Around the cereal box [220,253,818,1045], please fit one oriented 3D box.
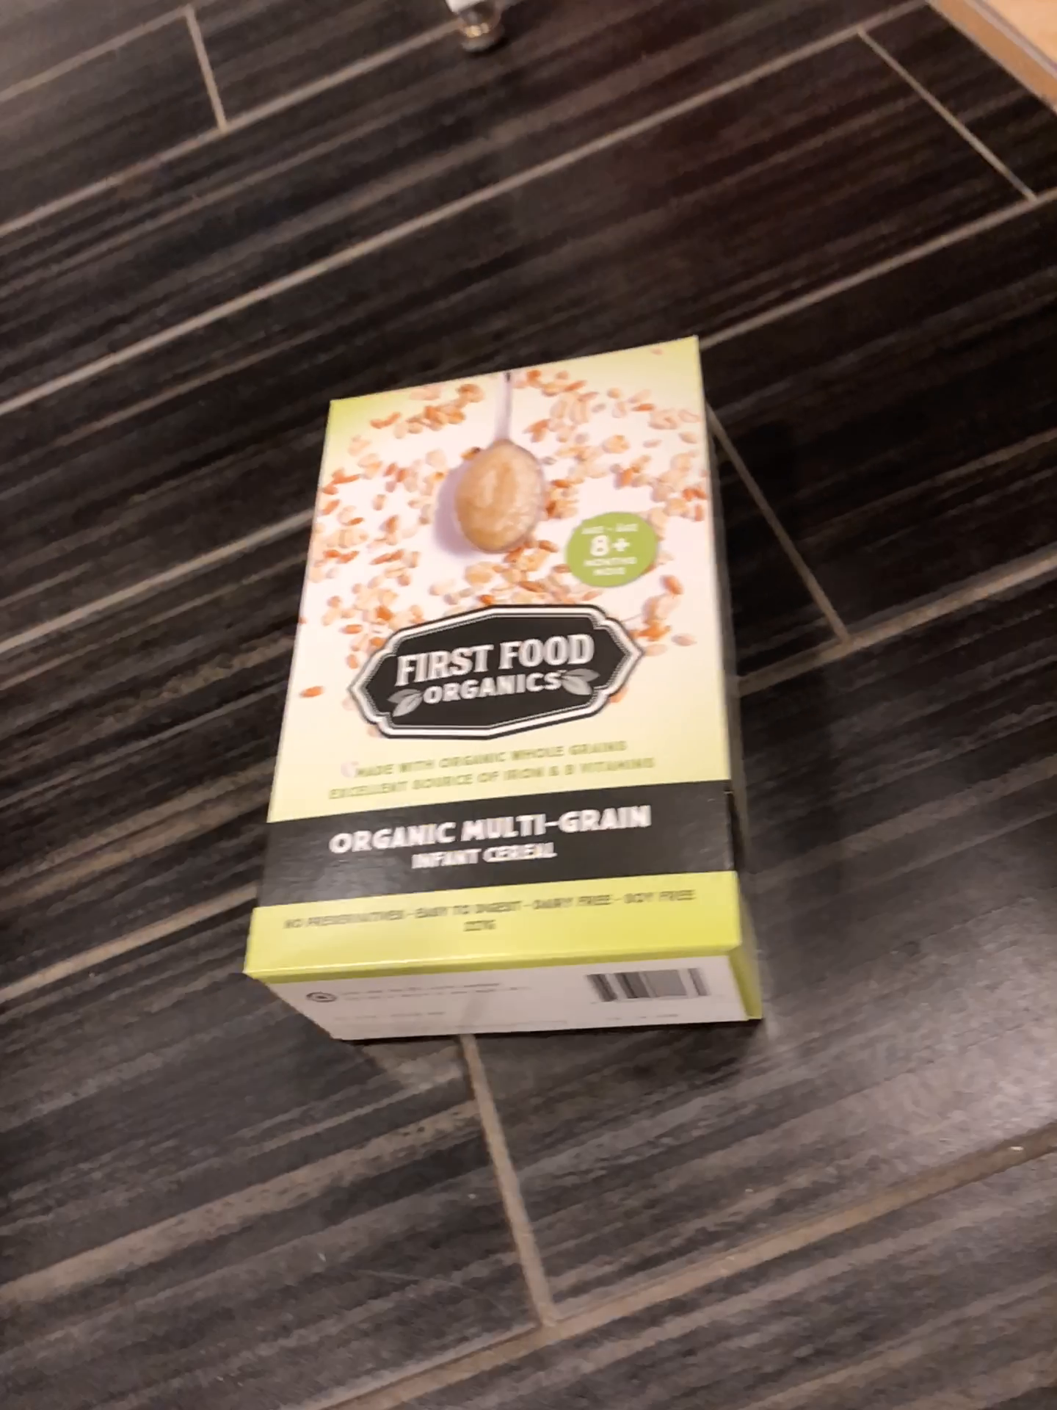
[{"bbox_3d":[-0.001,-0.025,0.359,0.140,0.060,0.230,-8,56,12],"label":"cereal box"}]
